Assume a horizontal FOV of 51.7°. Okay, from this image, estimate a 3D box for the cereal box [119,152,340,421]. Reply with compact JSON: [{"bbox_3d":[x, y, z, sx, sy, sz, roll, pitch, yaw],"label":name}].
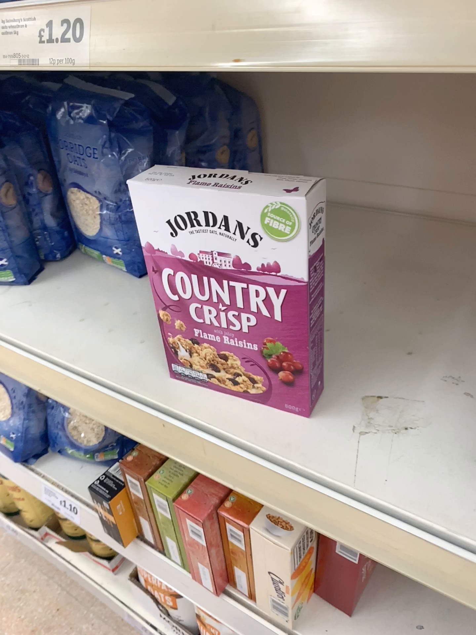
[{"bbox_3d":[-0.002,-0.028,0.493,0.190,0.248,0.050,12,37,24],"label":"cereal box"}]
